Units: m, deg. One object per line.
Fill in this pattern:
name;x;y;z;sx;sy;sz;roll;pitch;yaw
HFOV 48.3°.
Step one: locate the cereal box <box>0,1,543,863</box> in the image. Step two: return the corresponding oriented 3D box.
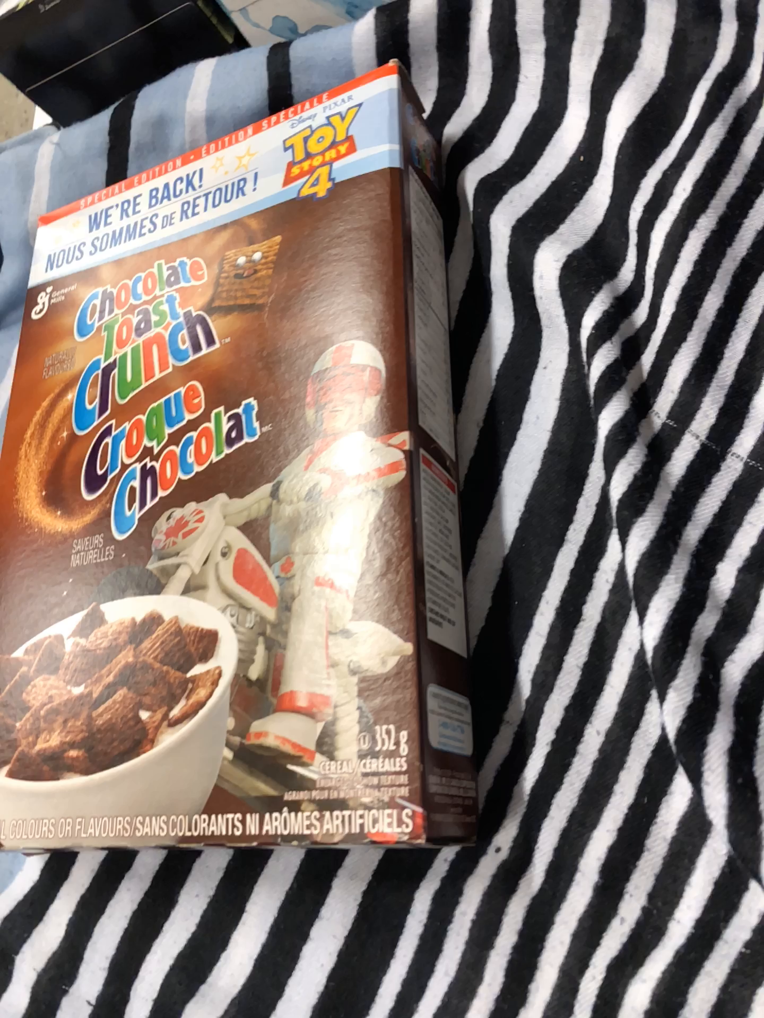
cereal box;-0.065;-0.025;0.343;0.211;0.060;0.300;-13;68;23
